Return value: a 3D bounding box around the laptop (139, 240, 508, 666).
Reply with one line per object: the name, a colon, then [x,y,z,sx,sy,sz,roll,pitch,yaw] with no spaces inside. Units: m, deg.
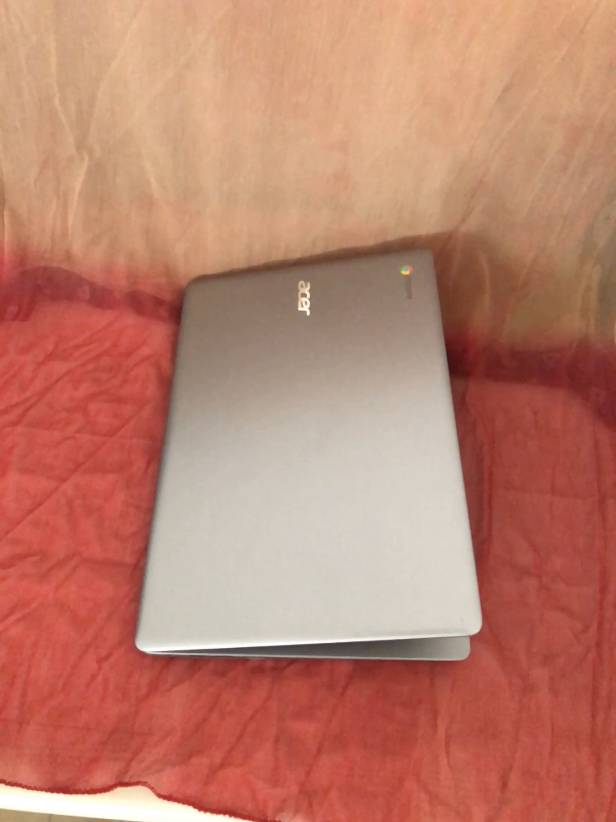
laptop: [0.009,0.014,0.518,0.219,0.065,0.323,2,57,-1]
